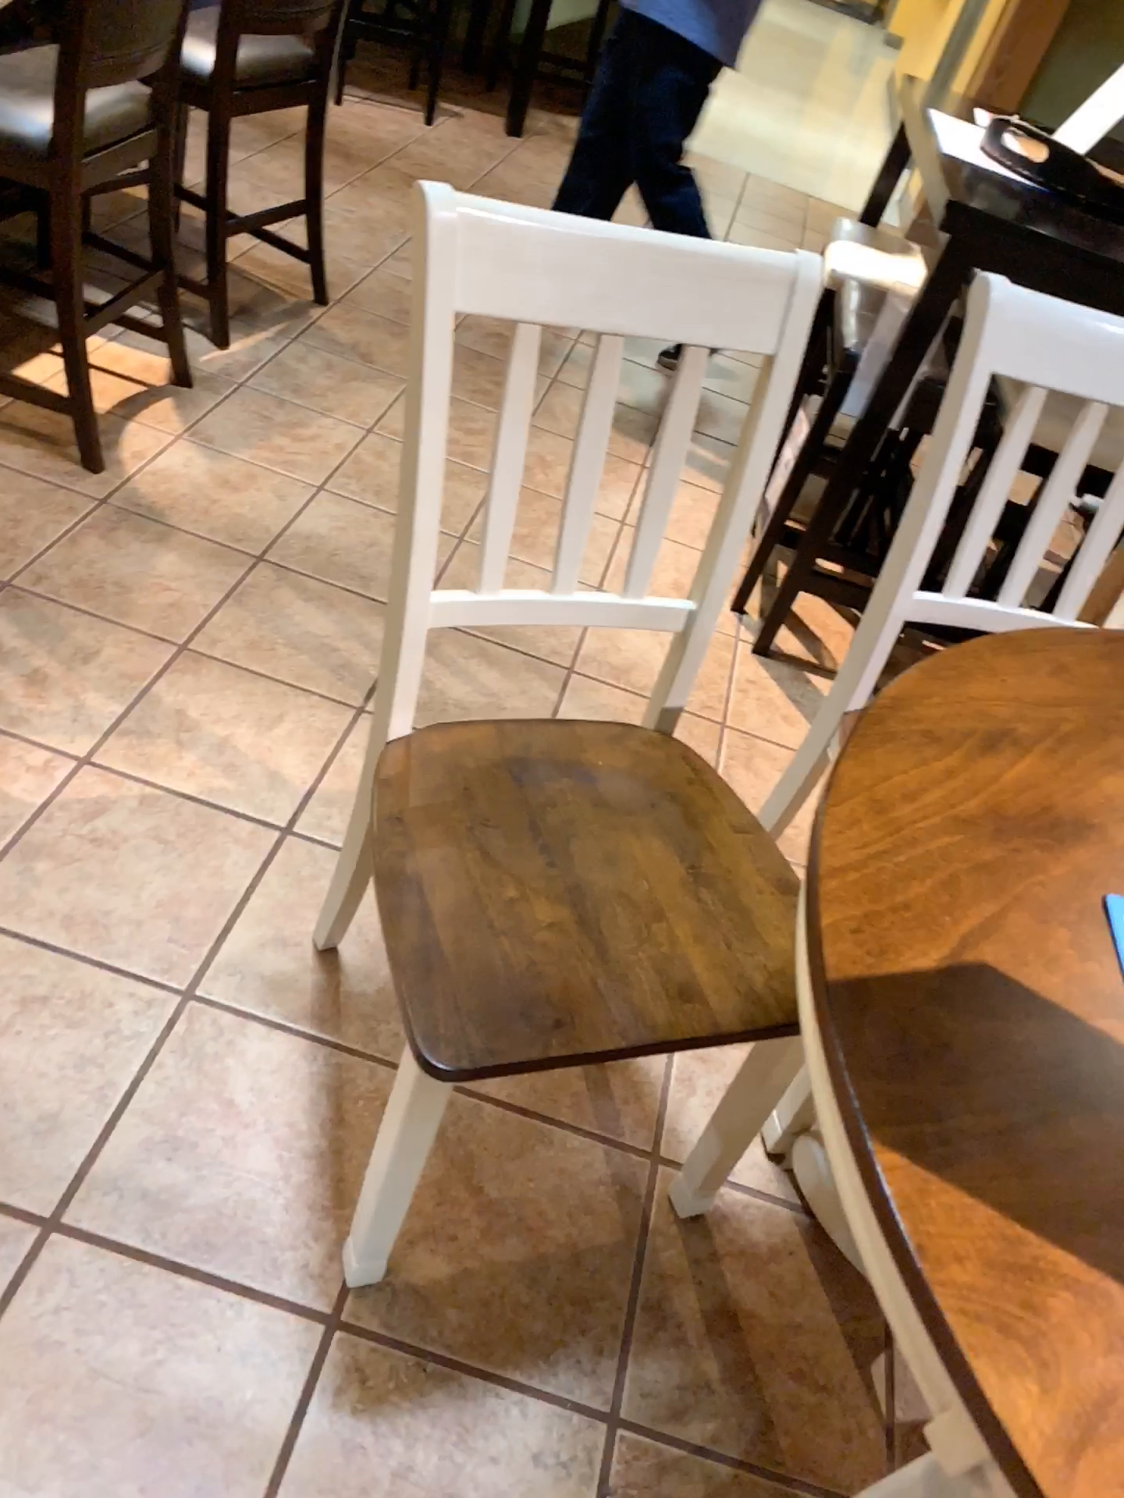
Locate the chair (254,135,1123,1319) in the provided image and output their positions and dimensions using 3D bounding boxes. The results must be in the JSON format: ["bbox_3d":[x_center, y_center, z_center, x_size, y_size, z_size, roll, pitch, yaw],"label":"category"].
[{"bbox_3d":[0.020,0.016,1.142,0.491,0.890,0.635,0,44,-23],"label":"chair"}]

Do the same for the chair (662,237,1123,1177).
[{"bbox_3d":[0.558,0.000,1.391,0.490,0.900,0.635,7,41,-16],"label":"chair"}]
